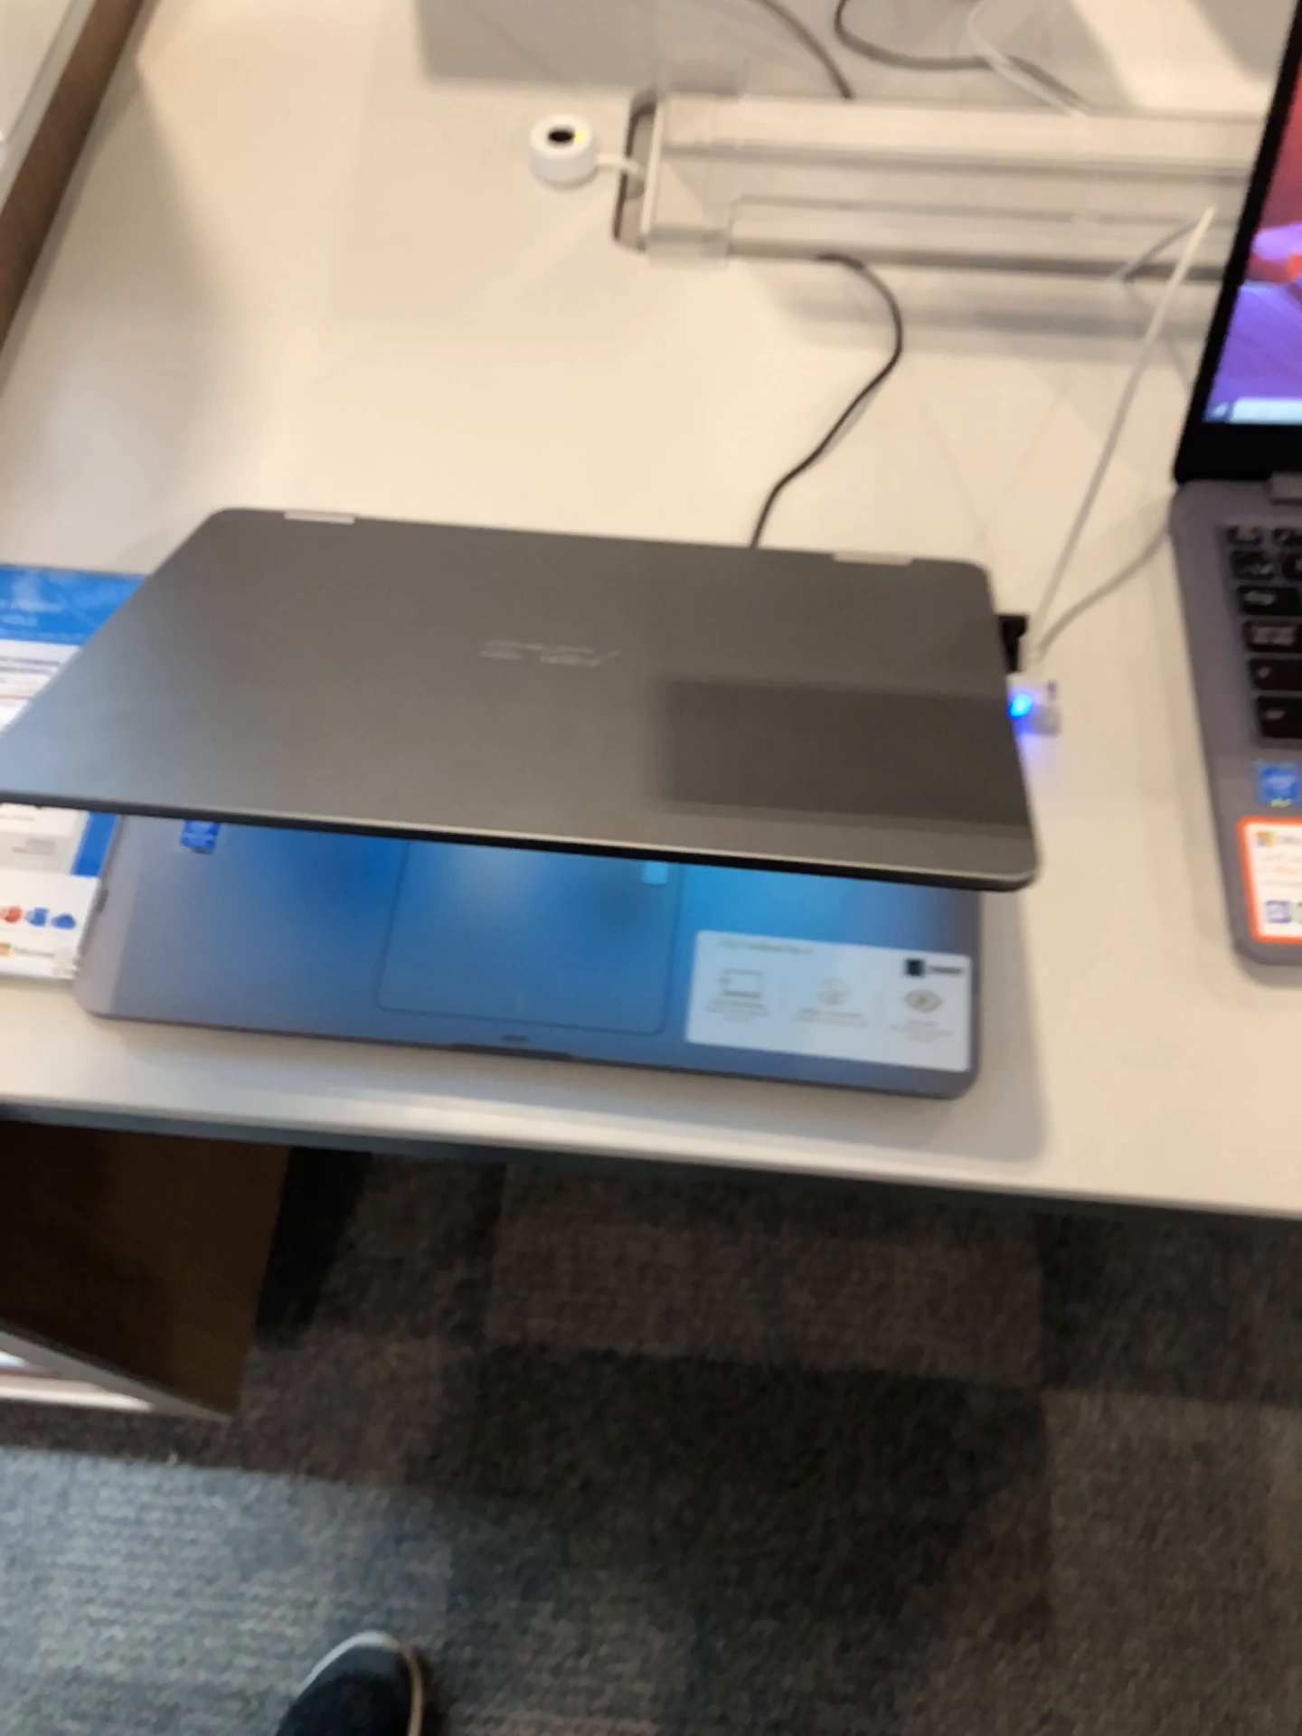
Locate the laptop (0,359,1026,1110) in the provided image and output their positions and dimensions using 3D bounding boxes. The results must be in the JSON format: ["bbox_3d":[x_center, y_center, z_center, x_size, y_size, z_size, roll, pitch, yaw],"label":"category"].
[{"bbox_3d":[-0.043,-0.051,0.510,0.321,0.105,0.215,5,63,5],"label":"laptop"}]
